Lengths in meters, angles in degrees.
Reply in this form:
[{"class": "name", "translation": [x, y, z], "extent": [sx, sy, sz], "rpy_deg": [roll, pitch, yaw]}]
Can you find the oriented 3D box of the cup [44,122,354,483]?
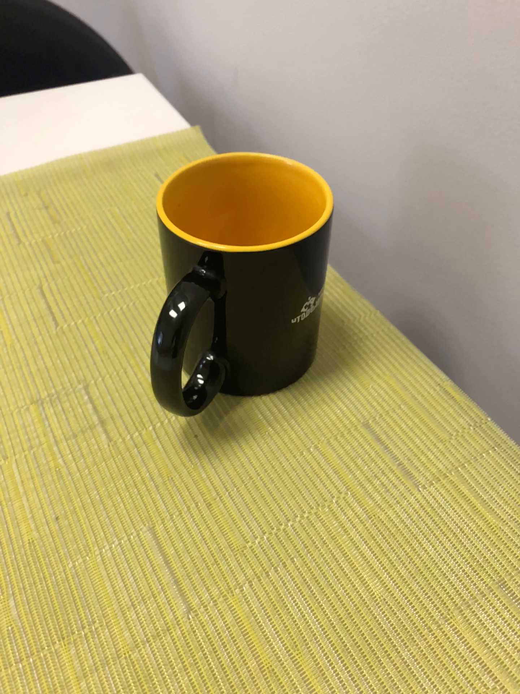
[{"class": "cup", "translation": [-0.018, -0.025, 0.280], "extent": [0.088, 0.104, 0.119], "rpy_deg": [15, 47, 13]}]
